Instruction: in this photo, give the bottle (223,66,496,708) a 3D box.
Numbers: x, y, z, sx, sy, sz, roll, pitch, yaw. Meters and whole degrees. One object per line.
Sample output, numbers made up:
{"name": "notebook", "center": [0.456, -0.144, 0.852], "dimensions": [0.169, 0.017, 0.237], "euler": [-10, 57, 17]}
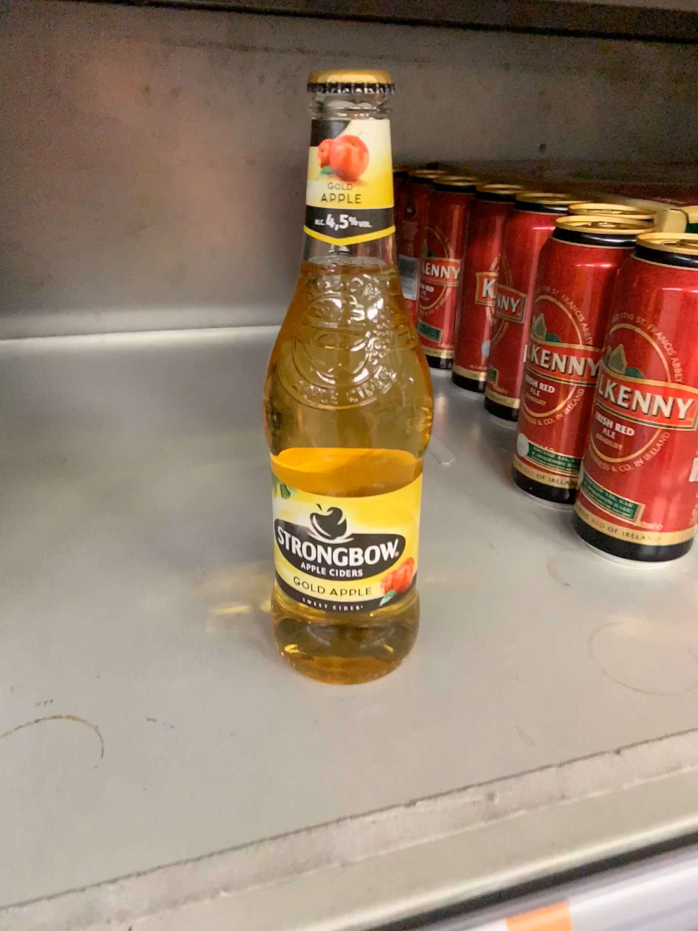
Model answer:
{"name": "bottle", "center": [0.005, -0.027, 0.300], "dimensions": [0.080, 0.239, 0.080], "euler": [2, 25, -1]}
